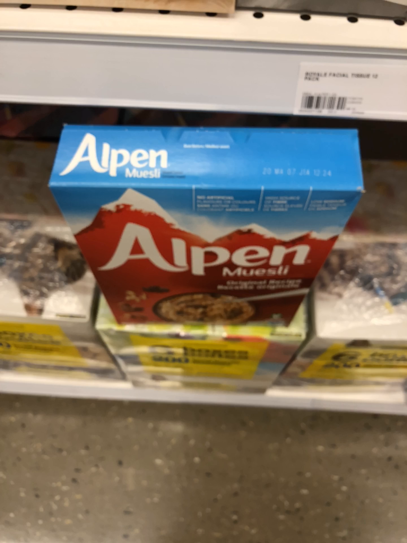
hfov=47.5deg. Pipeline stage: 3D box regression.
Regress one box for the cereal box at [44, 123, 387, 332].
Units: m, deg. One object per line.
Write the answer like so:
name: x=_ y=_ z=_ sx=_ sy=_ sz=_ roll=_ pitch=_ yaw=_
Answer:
cereal box: x=0.005 y=-0.012 z=0.357 sx=0.180 sy=0.230 sz=0.050 roll=1 pitch=65 yaw=-1
